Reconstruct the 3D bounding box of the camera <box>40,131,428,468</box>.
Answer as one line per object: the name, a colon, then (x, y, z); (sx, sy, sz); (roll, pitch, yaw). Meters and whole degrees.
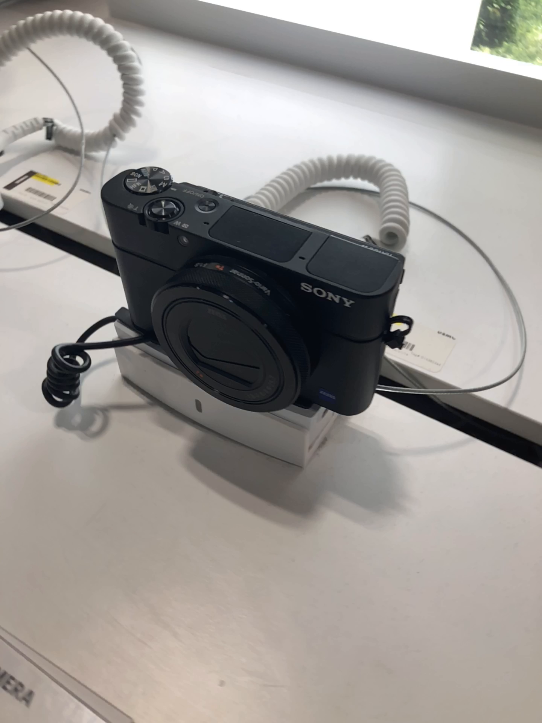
camera: (-0.014, -0.022, 0.204); (0.110, 0.070, 0.040); (24, 51, 19)
